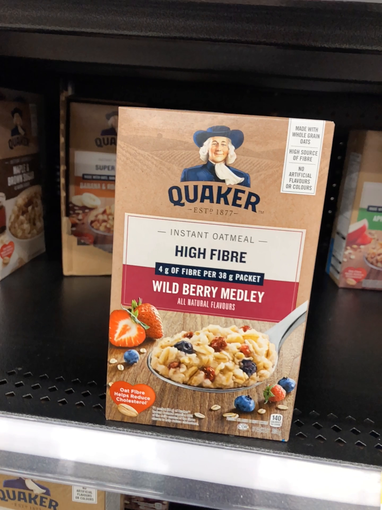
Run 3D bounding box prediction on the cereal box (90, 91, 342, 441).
[{"bbox_3d":[0.010,0.007,0.279,0.130,0.199,0.060,6,13,4],"label":"cereal box"}]
